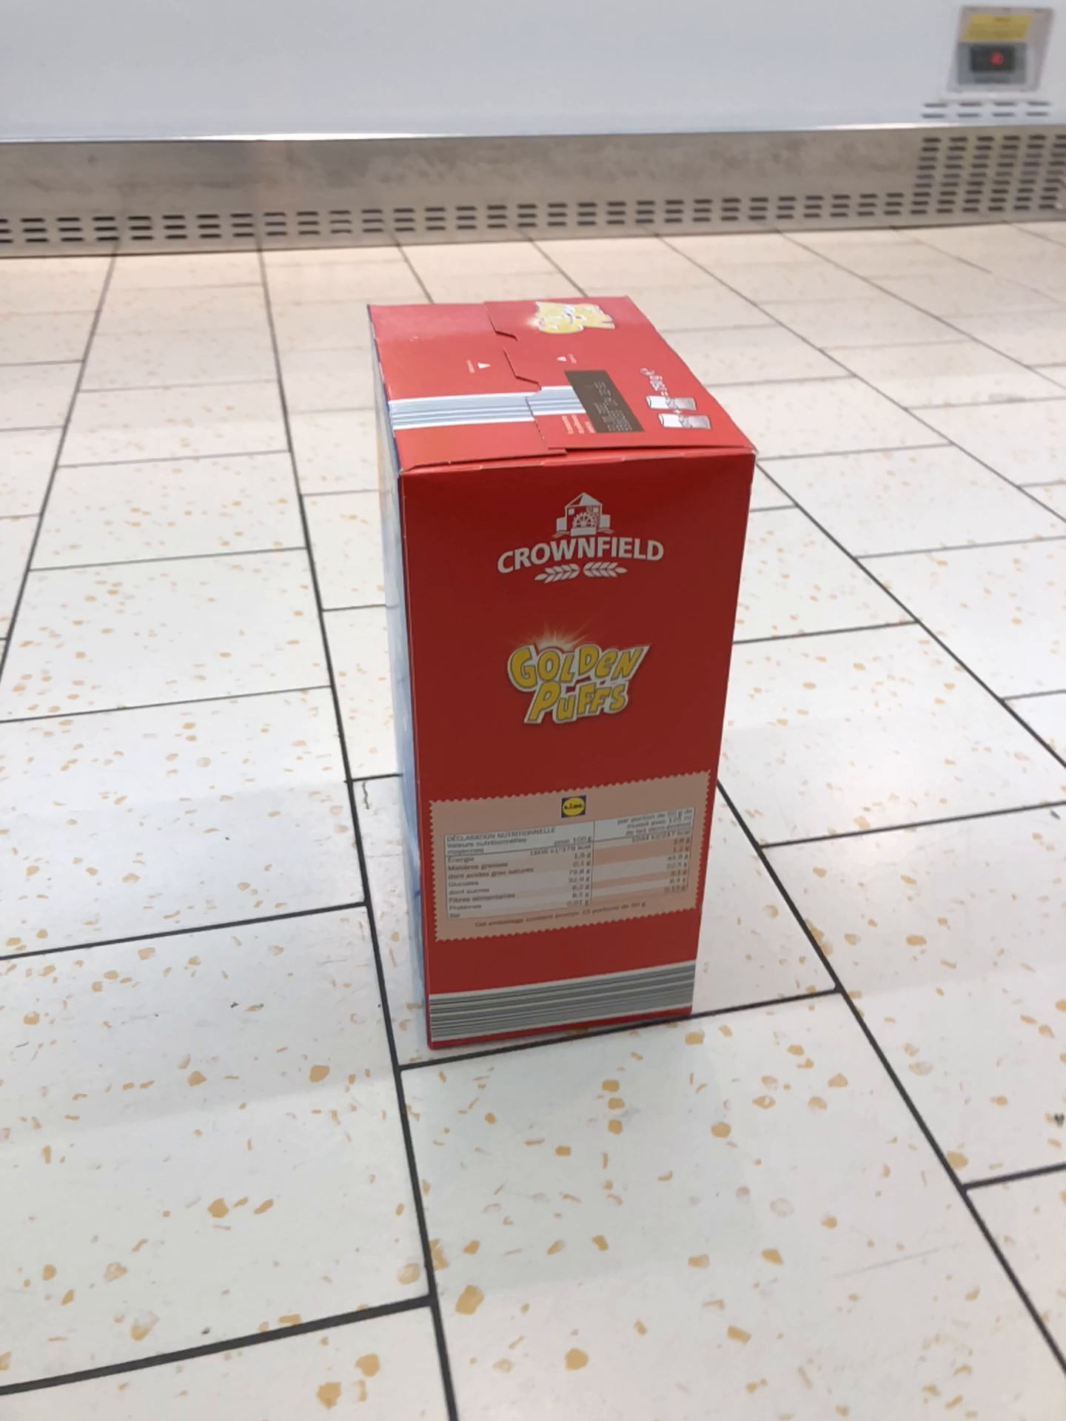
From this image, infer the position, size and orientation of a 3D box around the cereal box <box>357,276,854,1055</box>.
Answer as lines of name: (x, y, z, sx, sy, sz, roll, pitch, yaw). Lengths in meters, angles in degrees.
cereal box: (0.010, -0.028, 0.493, 0.140, 0.248, 0.201, -5, 33, -9)
